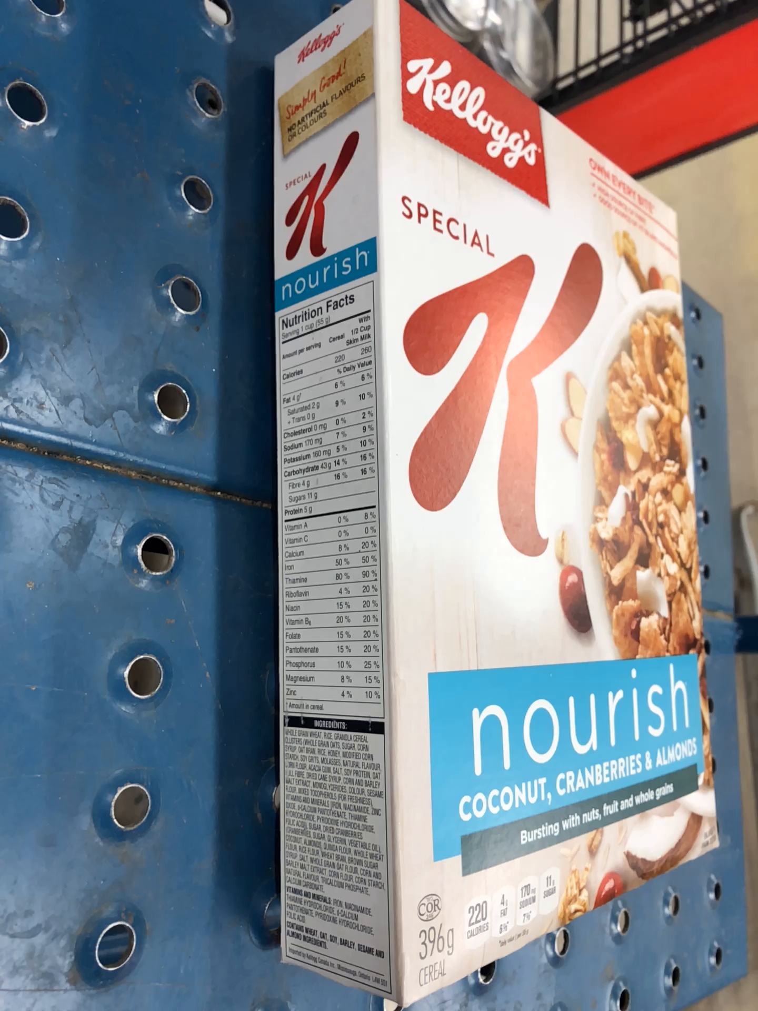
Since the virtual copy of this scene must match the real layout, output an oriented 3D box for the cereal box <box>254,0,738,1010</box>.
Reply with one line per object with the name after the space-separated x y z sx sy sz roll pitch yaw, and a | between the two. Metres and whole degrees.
0.055 -0.011 0.306 0.211 0.050 0.290 7 80 -46 | cereal box
